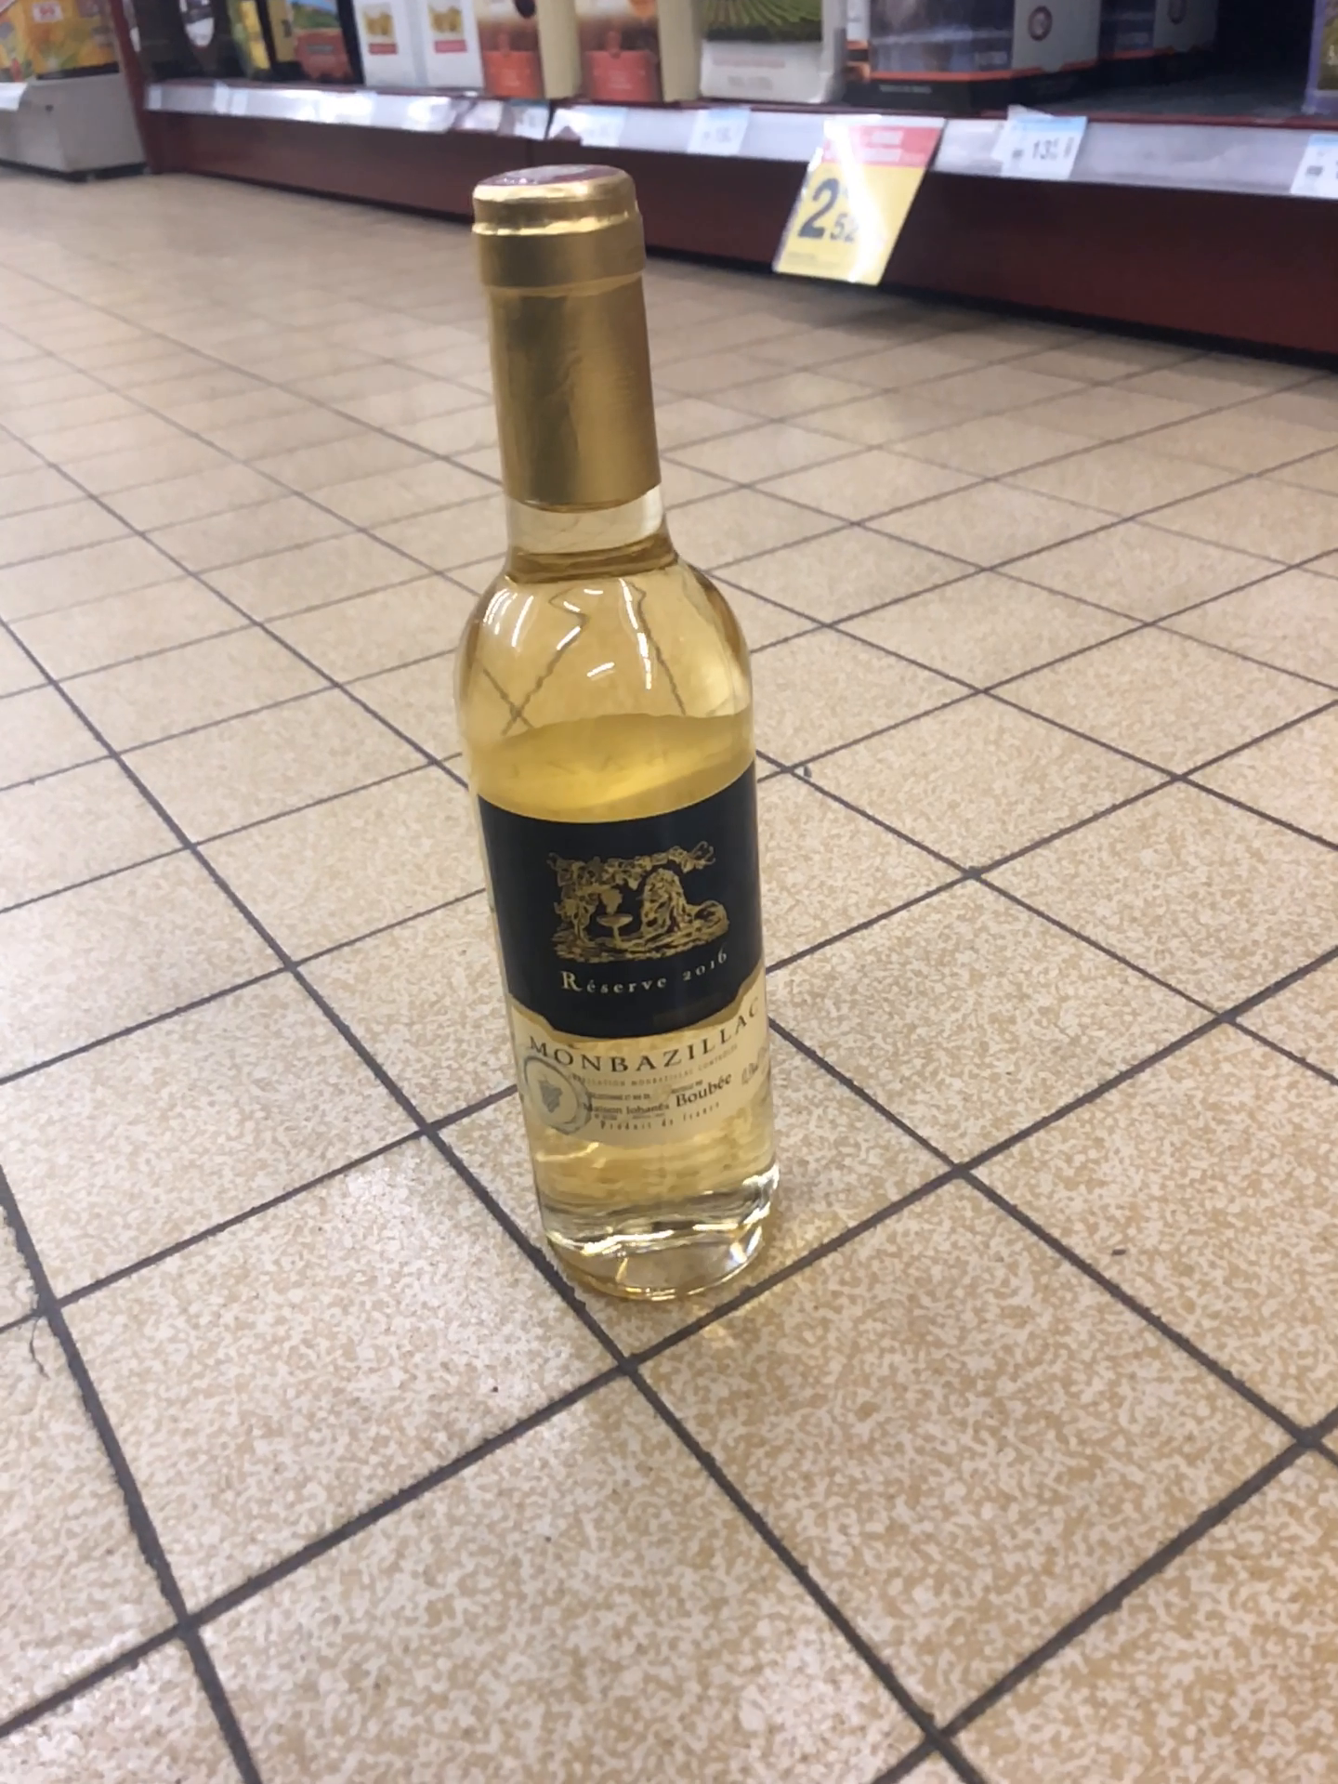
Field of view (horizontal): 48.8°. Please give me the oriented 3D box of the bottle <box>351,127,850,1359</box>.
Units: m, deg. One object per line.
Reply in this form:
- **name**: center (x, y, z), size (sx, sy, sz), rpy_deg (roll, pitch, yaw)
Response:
- **bottle**: center (-0.007, -0.019, 0.305), size (0.070, 0.239, 0.070), rpy_deg (-4, 31, 2)
